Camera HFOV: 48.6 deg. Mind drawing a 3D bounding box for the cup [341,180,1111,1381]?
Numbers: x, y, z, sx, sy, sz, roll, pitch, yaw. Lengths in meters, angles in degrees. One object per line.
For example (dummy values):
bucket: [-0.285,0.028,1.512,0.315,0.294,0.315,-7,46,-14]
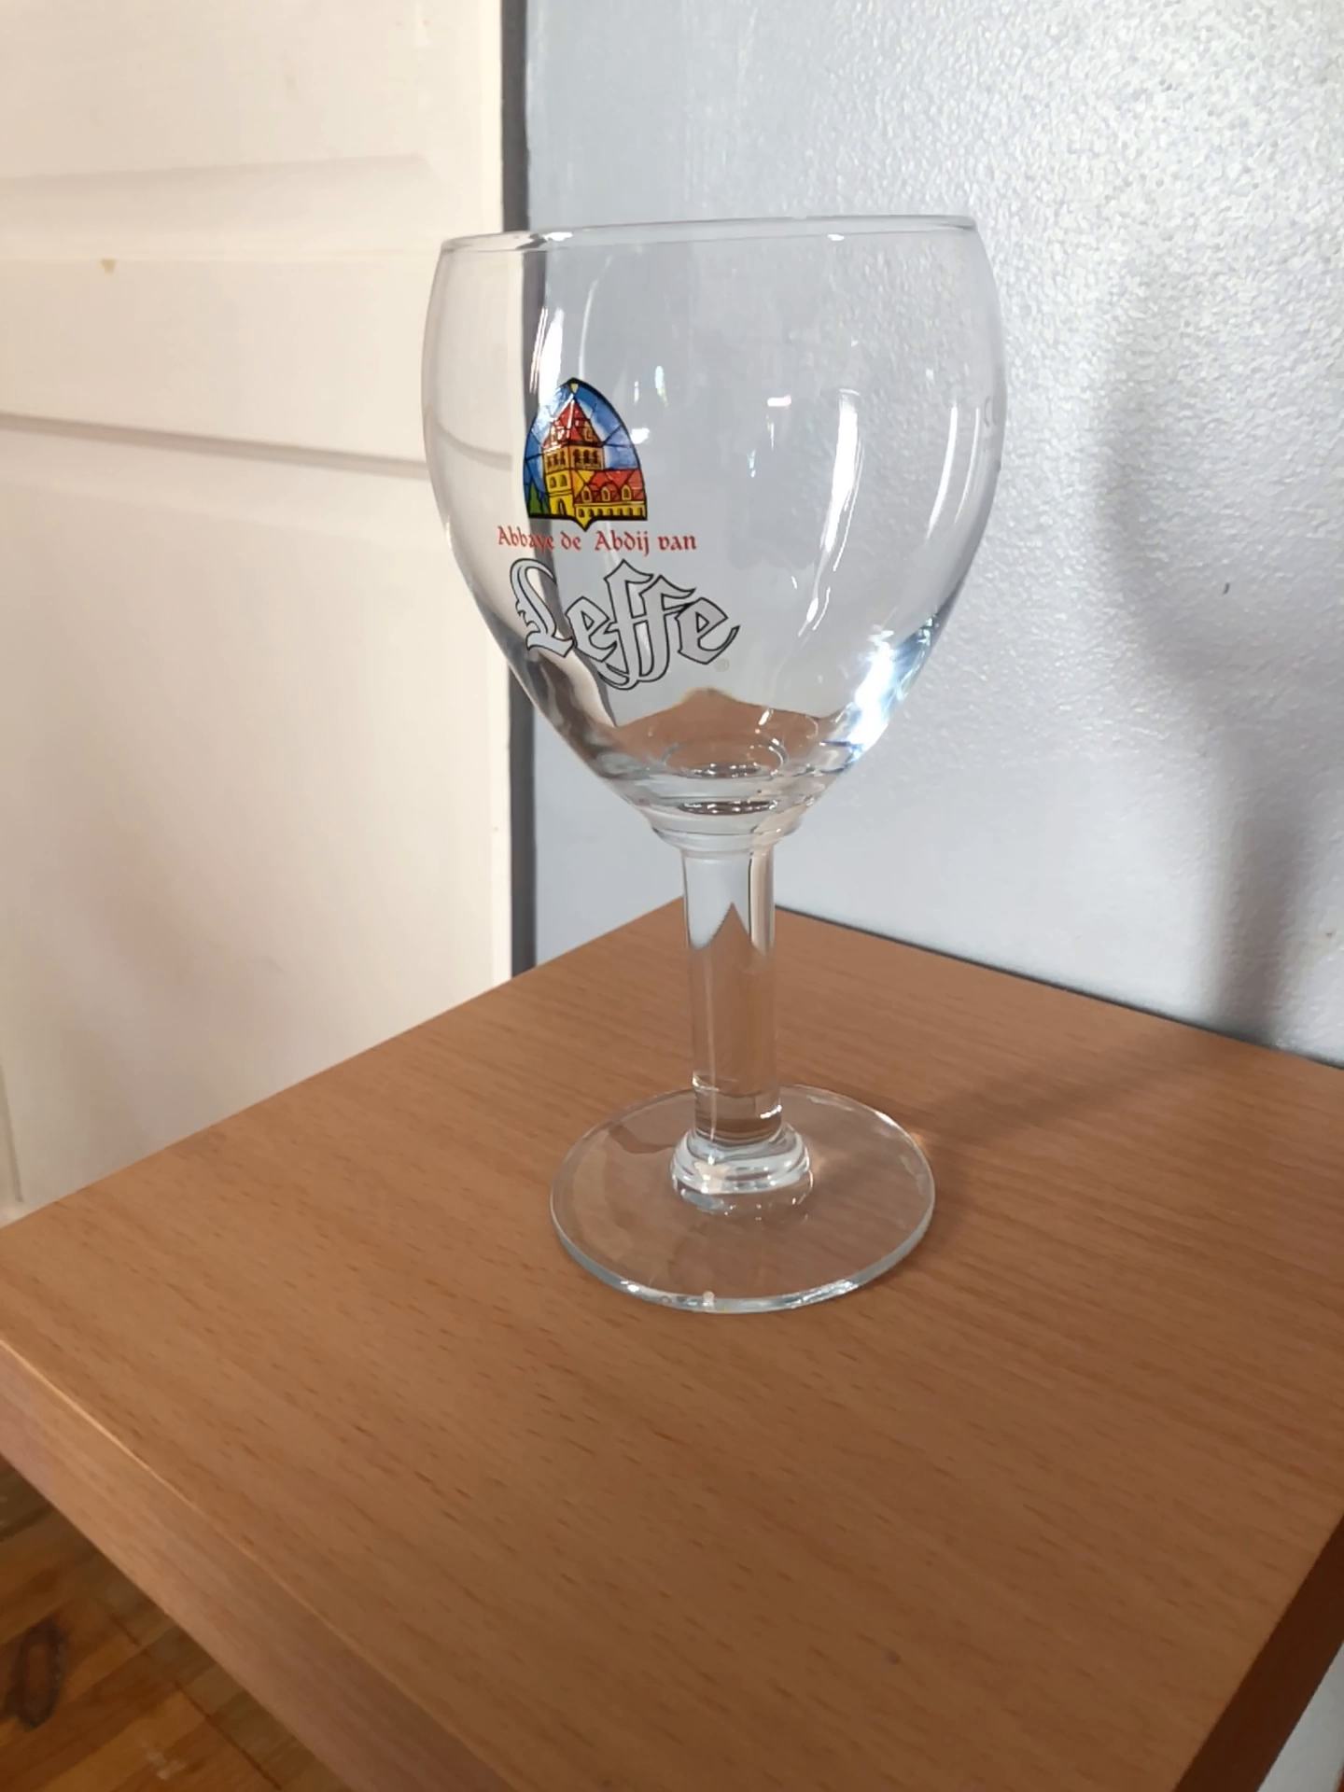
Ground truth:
cup: [0.012,-0.029,0.284,0.095,0.185,0.101,1,20,-1]
